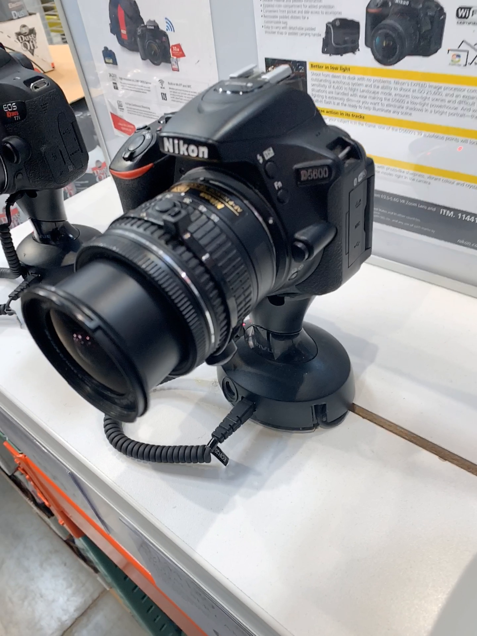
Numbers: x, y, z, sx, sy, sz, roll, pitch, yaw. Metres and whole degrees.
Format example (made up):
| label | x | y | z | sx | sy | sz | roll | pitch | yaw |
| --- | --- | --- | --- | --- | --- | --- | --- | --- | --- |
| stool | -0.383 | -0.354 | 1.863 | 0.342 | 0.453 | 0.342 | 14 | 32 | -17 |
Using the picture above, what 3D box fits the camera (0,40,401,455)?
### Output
| label | x | y | z | sx | sy | sz | roll | pitch | yaw |
| --- | --- | --- | --- | --- | --- | --- | --- | --- | --- |
| camera | -0.018 | -0.046 | 0.205 | 0.111 | 0.090 | 0.140 | 21 | 49 | 31 |
